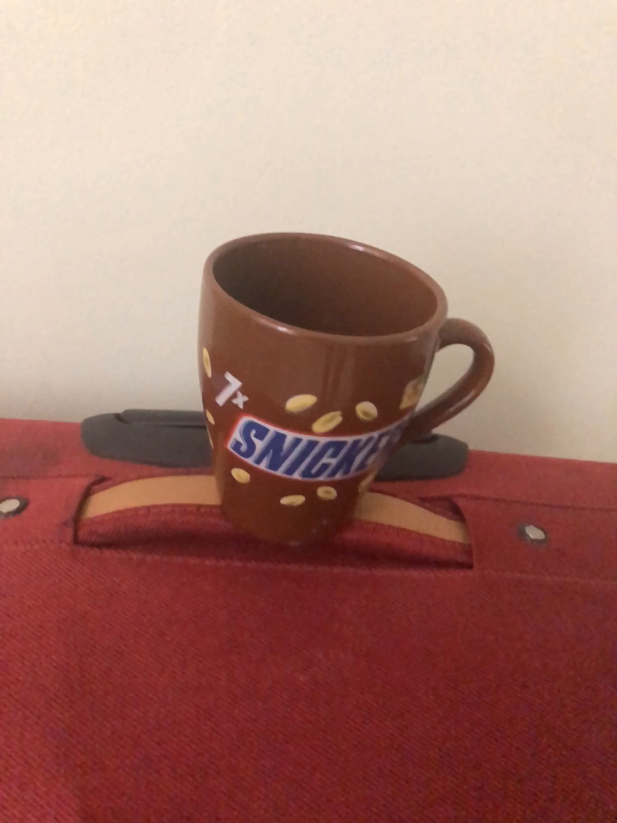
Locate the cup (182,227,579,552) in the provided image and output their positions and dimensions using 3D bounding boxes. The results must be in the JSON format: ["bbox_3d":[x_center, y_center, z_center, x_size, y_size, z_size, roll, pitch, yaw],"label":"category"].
[{"bbox_3d":[0.014,-0.010,0.251,0.115,0.080,0.088,1,35,-8],"label":"cup"}]
